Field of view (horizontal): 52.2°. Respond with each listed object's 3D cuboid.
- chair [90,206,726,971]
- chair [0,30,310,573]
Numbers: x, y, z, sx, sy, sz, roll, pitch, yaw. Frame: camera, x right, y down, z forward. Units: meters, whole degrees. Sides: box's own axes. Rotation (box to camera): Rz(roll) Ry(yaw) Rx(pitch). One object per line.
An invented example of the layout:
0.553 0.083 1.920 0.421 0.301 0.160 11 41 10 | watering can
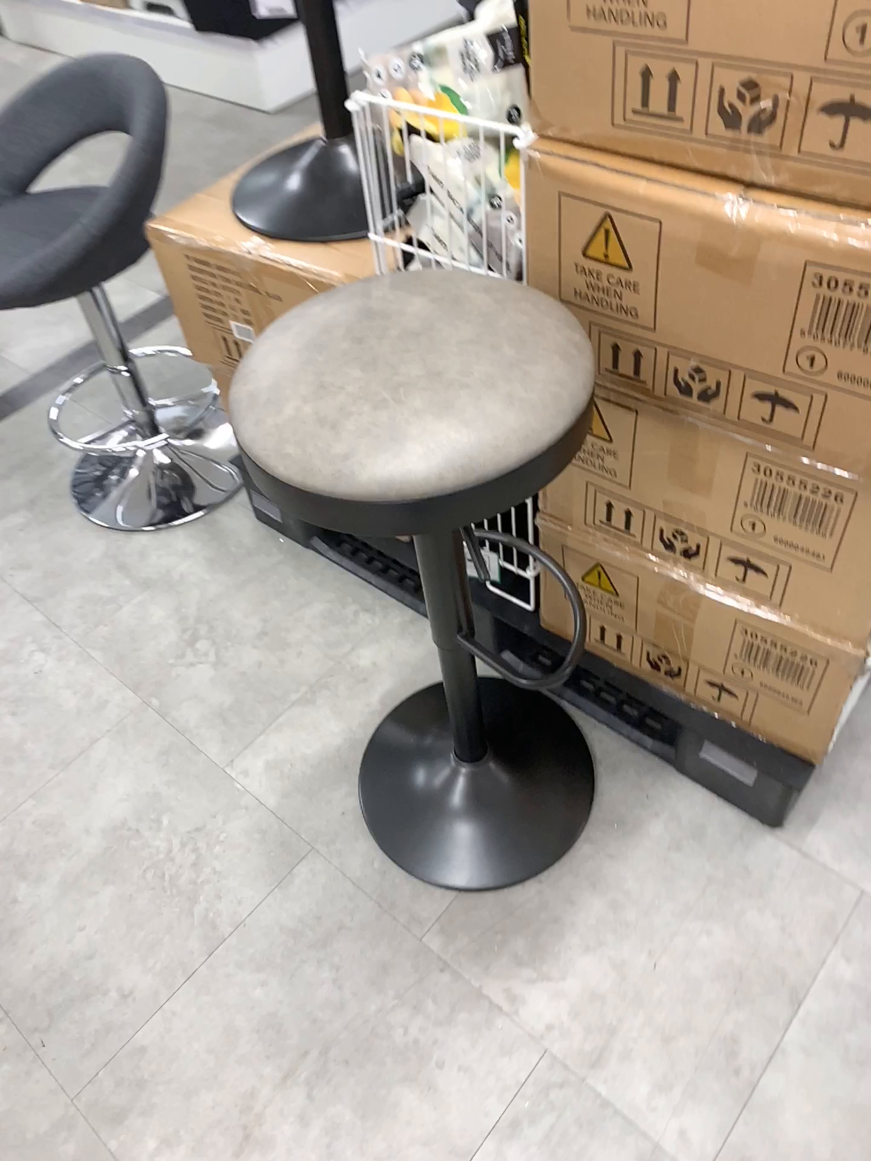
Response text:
-0.018 0.040 1.116 0.433 0.741 0.461 -28 51 -17 | chair
-0.637 -0.507 1.646 0.510 0.721 0.454 33 59 31 | chair
